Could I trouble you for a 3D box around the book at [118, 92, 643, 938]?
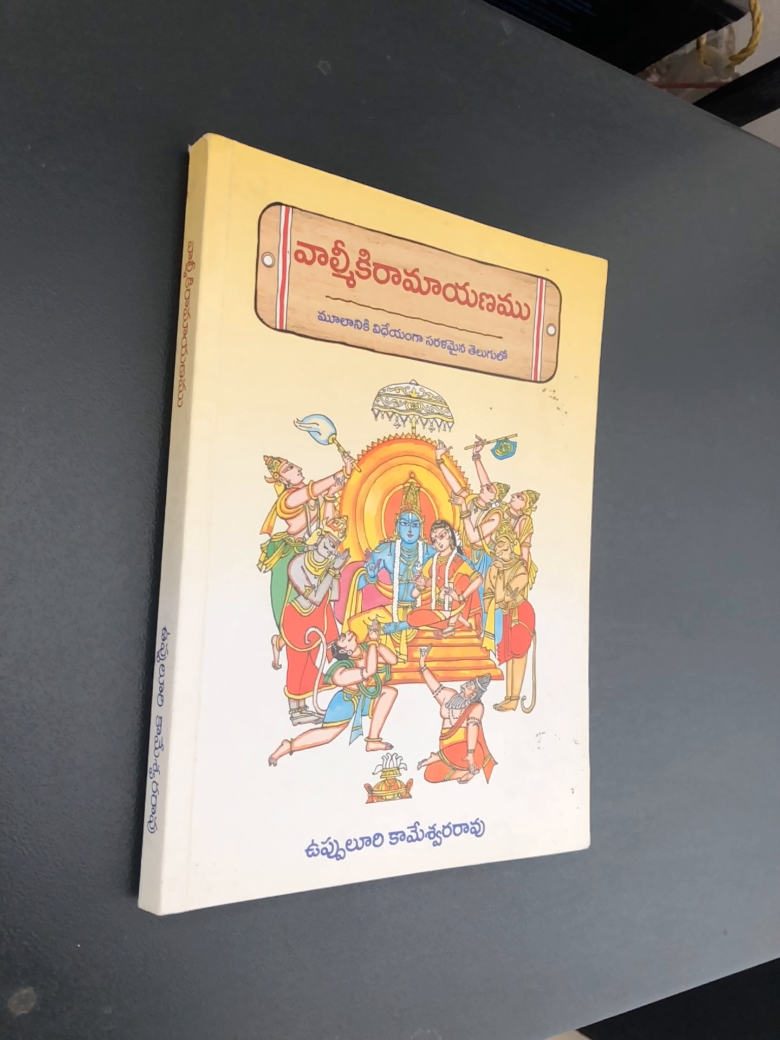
[{"bbox_3d":[0.013,0.002,0.303,0.191,0.020,0.240,6,84,-32],"label":"book"}]
